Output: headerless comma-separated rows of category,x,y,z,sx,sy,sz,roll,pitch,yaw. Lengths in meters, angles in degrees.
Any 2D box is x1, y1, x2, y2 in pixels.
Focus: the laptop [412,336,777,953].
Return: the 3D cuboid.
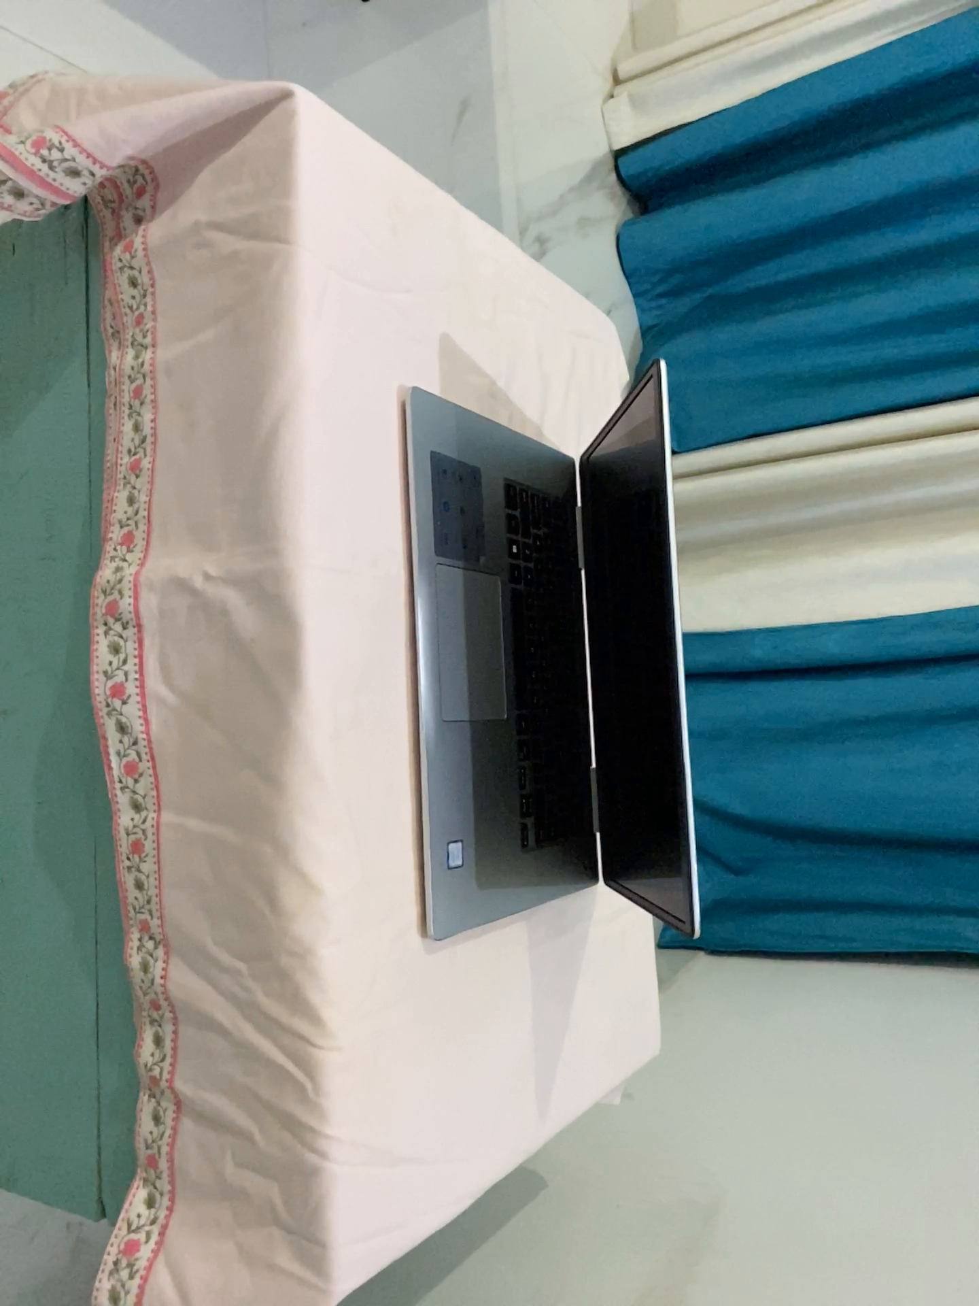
laptop,0.083,0.002,0.697,0.235,0.148,0.347,3,83,-58
